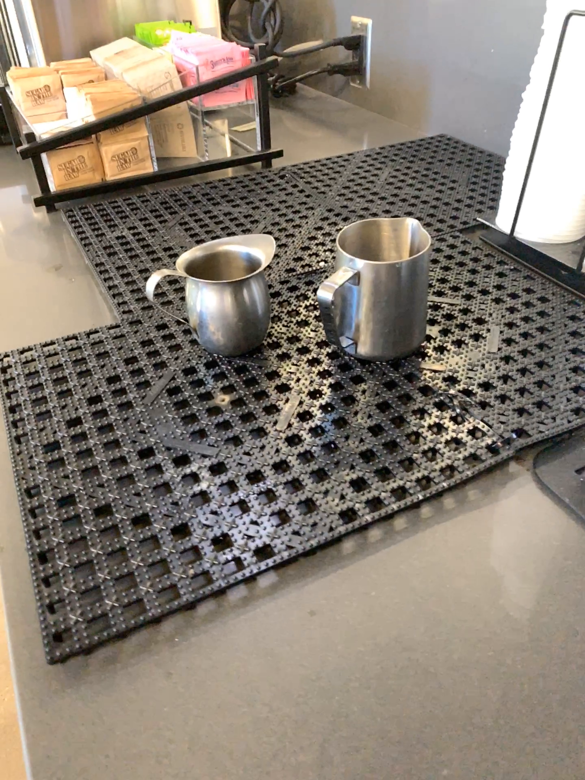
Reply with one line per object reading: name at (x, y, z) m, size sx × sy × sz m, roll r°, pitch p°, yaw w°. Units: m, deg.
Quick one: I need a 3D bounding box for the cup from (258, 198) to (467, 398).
cup at (0.049, -0.070, 0.427) m, size 0.120 × 0.080 × 0.080 m, roll -31°, pitch 47°, yaw -32°

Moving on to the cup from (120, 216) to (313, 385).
cup at (-0.055, -0.075, 0.472) m, size 0.120 × 0.070 × 0.080 m, roll -30°, pitch 46°, yaw -31°
